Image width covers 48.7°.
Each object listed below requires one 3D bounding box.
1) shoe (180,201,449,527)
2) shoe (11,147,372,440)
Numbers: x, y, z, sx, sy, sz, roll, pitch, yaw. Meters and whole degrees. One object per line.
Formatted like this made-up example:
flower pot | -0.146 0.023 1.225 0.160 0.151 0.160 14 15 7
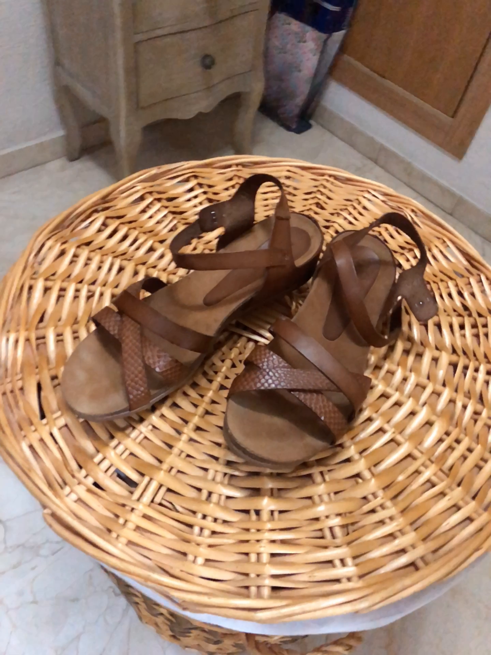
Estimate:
shoe | 0.069 0.009 0.450 0.100 0.060 0.281 29 53 14
shoe | -0.033 -0.040 0.457 0.280 0.070 0.100 -35 63 -21
